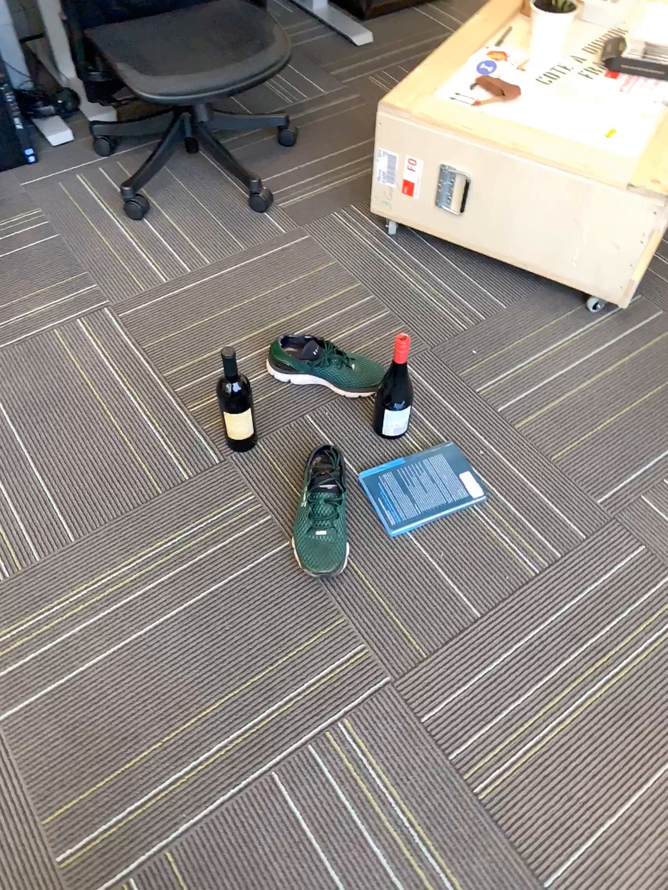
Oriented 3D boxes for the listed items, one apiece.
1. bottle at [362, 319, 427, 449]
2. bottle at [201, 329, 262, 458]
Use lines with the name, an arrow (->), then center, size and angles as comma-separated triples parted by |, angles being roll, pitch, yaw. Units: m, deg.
bottle -> 0.123, -0.122, 1.456 | 0.080, 0.289, 0.090 | -19, 57, -14
bottle -> -0.209, -0.100, 1.420 | 0.080, 0.289, 0.090 | -12, 55, -9
